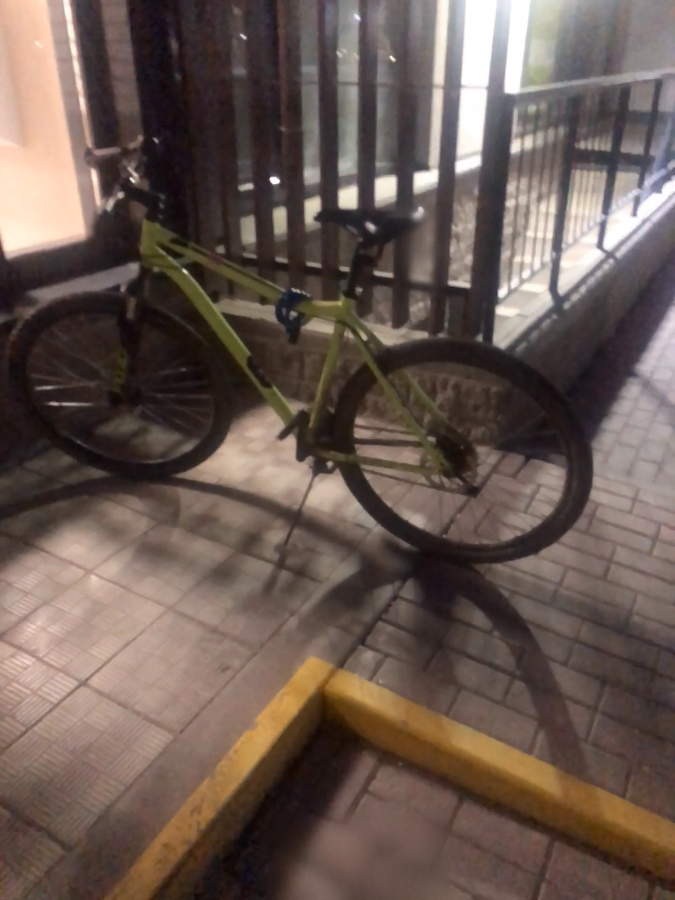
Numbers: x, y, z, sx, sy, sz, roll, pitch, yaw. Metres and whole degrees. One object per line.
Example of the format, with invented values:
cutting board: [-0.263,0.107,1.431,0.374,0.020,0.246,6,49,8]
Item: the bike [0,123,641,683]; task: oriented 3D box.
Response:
bike: [-0.223,-0.235,1.997,1.761,1.095,0.722,9,29,16]
